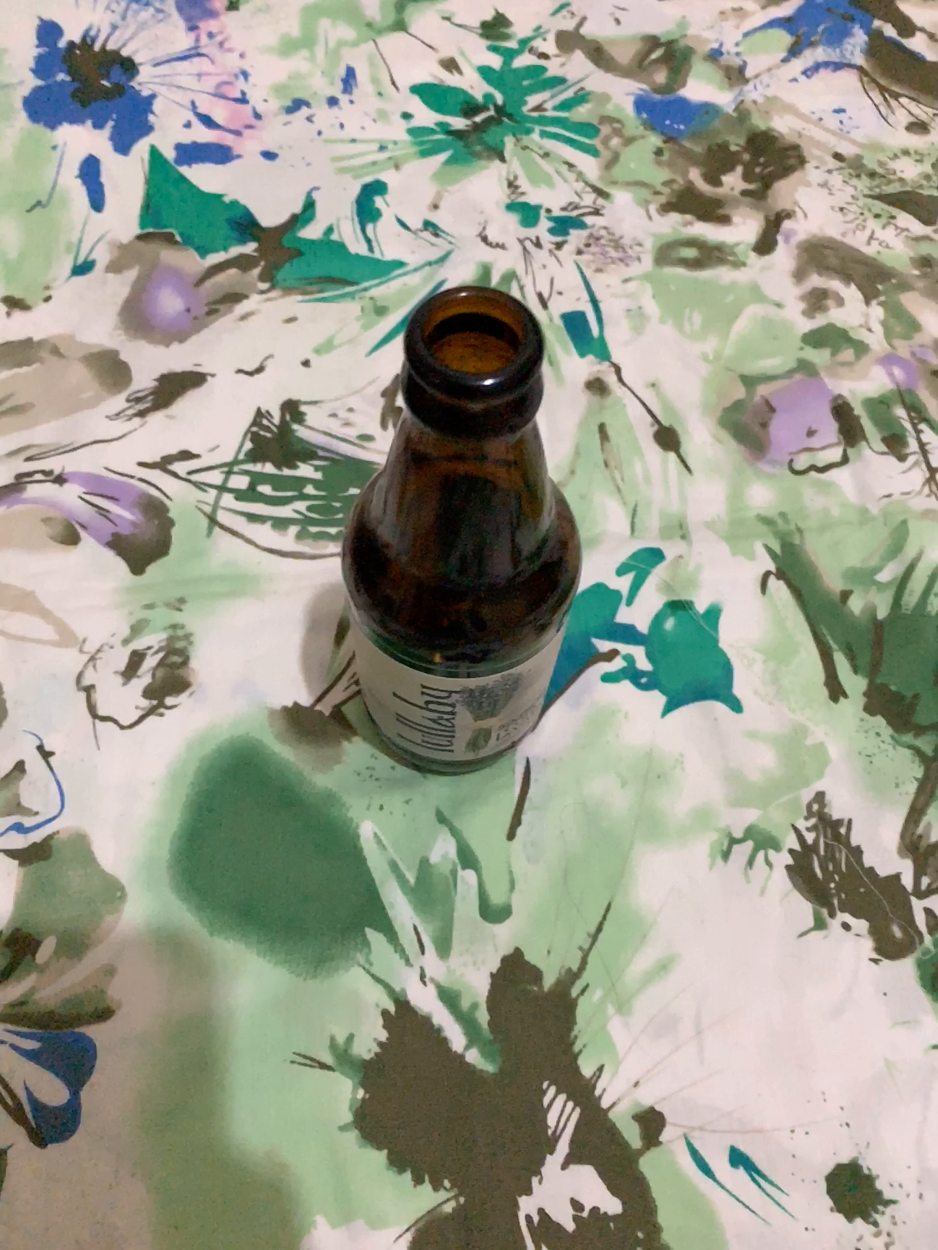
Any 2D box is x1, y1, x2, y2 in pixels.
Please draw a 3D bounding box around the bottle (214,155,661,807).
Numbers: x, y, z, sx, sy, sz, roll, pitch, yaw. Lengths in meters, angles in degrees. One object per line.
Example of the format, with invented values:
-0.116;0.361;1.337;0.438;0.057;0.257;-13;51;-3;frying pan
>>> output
-0.006;-0.015;0.248;0.070;0.180;0.070;1;64;-2;bottle
